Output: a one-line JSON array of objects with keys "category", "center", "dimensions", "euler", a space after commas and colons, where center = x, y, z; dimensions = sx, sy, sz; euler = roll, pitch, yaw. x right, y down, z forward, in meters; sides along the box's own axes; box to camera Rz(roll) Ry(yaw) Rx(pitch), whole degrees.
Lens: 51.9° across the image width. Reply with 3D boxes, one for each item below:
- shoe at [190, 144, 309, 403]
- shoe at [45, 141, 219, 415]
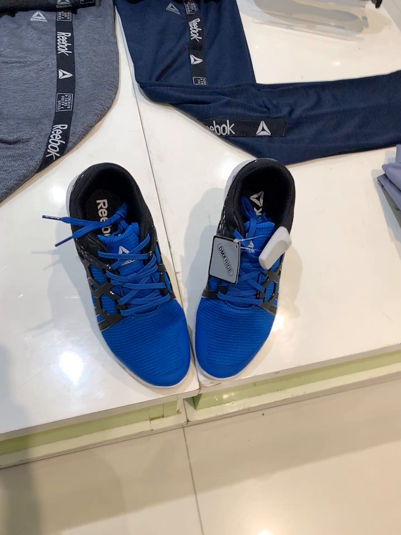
[{"category": "shoe", "center": [0.049, 0.008, 0.494], "dimensions": [0.100, 0.080, 0.289], "euler": [5, 104, -1]}, {"category": "shoe", "center": [-0.082, 0.010, 0.491], "dimensions": [0.100, 0.100, 0.280], "euler": [-21, 101, -23]}]
